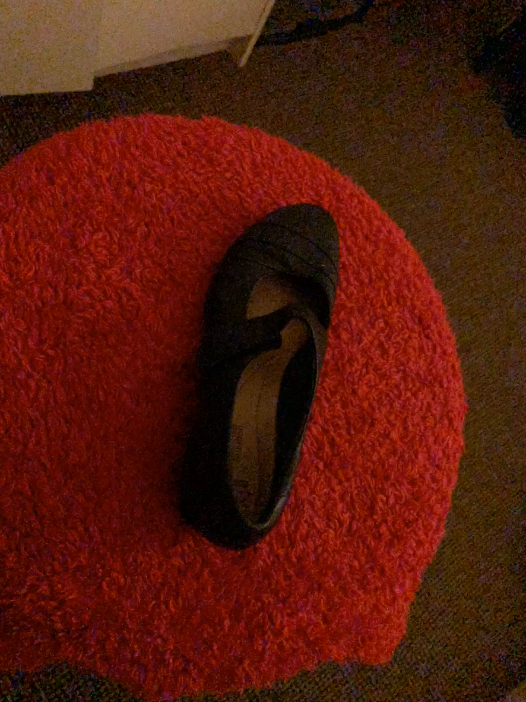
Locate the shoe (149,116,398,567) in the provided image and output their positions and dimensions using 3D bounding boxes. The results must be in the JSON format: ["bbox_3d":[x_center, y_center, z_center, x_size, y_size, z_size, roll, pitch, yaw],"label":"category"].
[{"bbox_3d":[0.013,-0.011,0.370,0.093,0.080,0.276,19,68,-15],"label":"shoe"}]
